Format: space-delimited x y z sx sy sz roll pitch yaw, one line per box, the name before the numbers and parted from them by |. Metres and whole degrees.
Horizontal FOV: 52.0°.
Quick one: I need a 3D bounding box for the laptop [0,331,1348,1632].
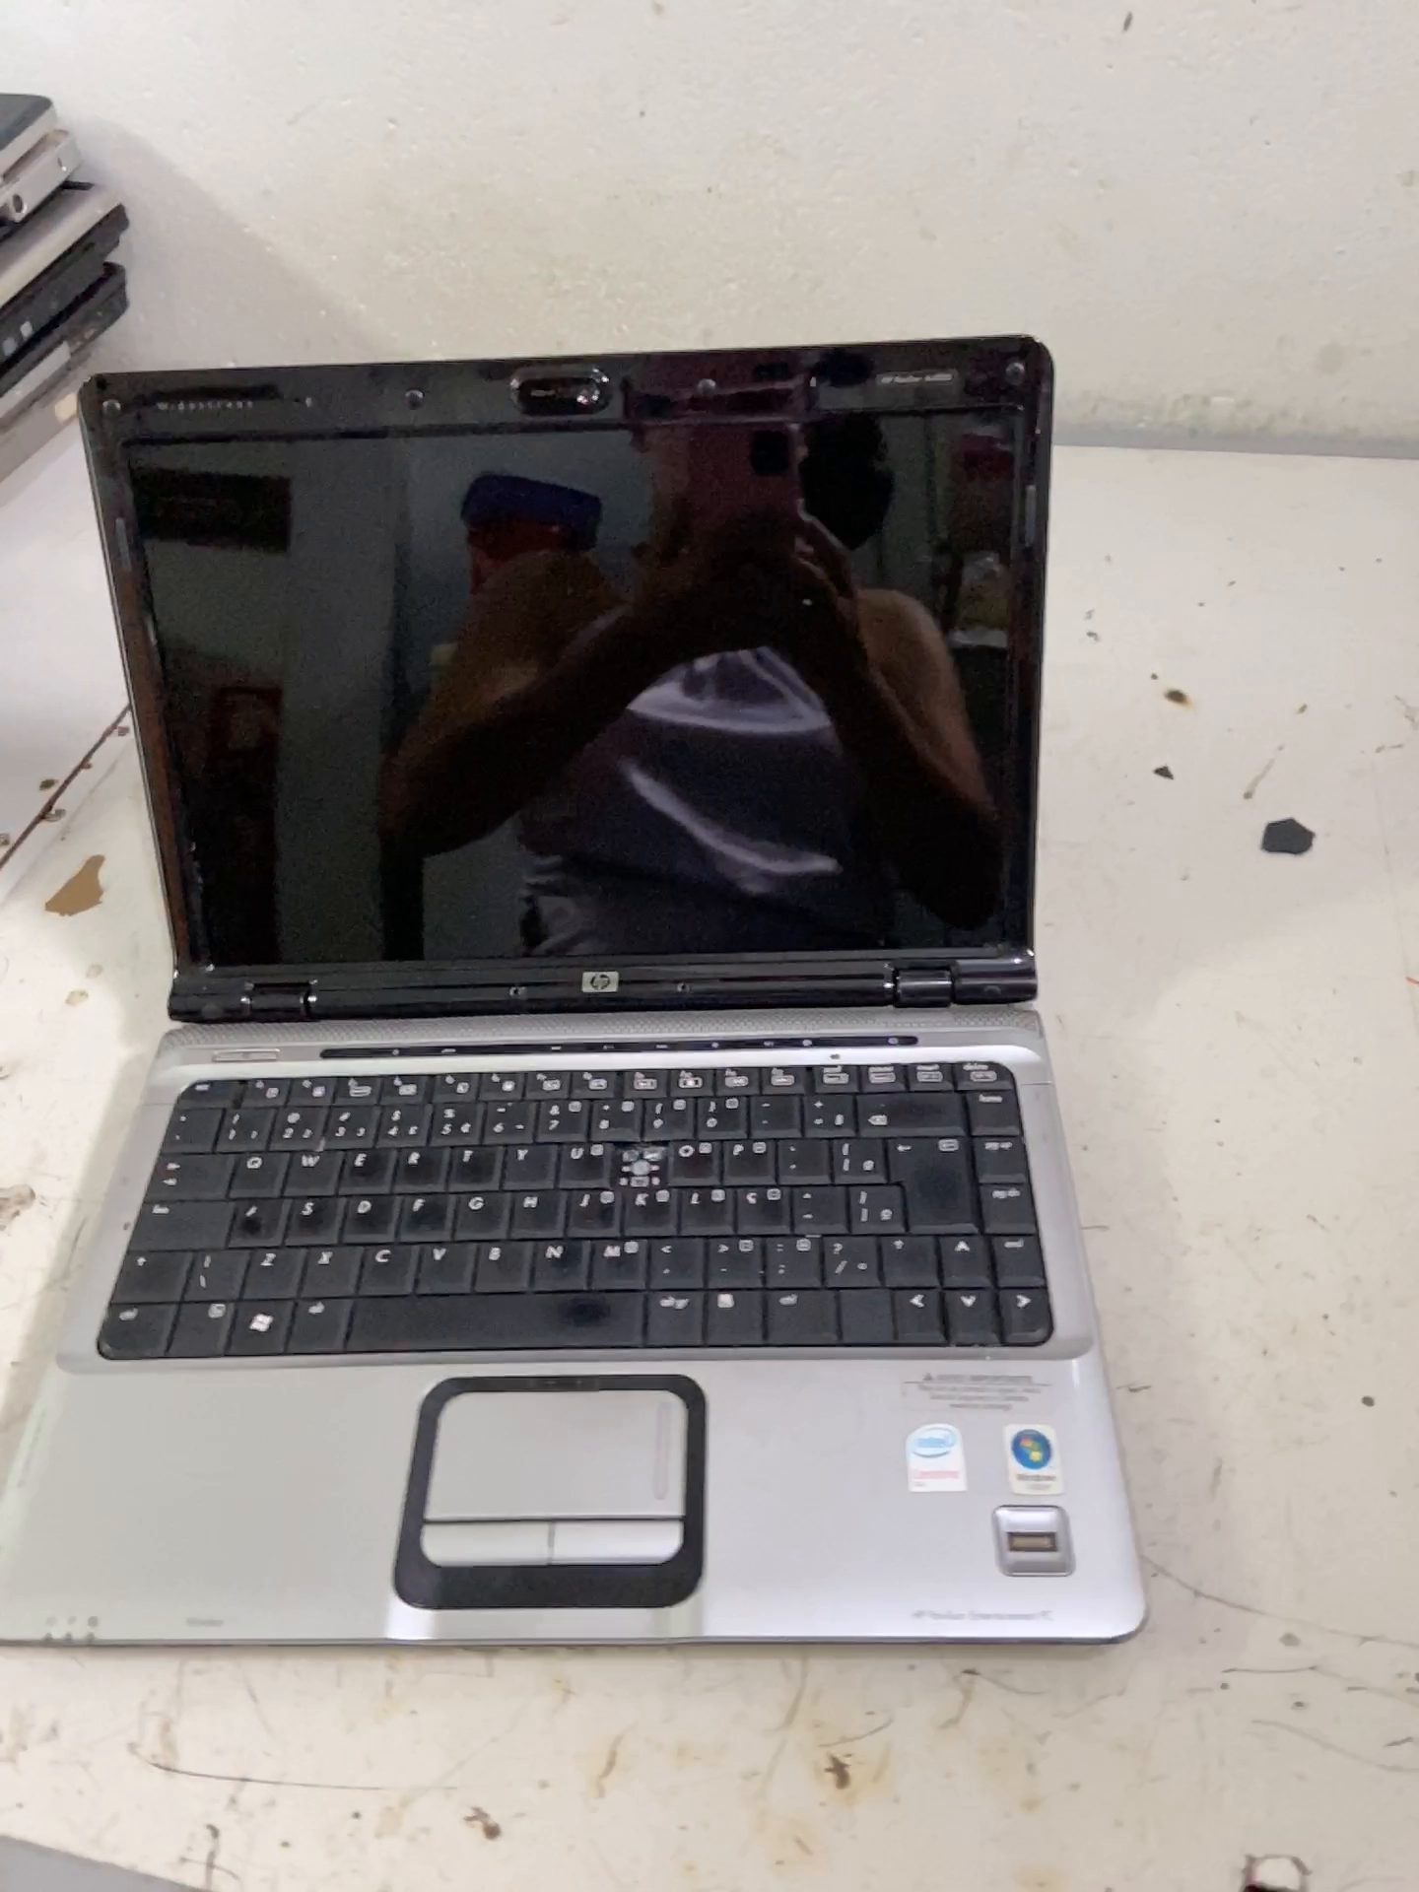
laptop | -0.045 -0.005 0.438 0.321 0.193 0.335 -1 47 3
